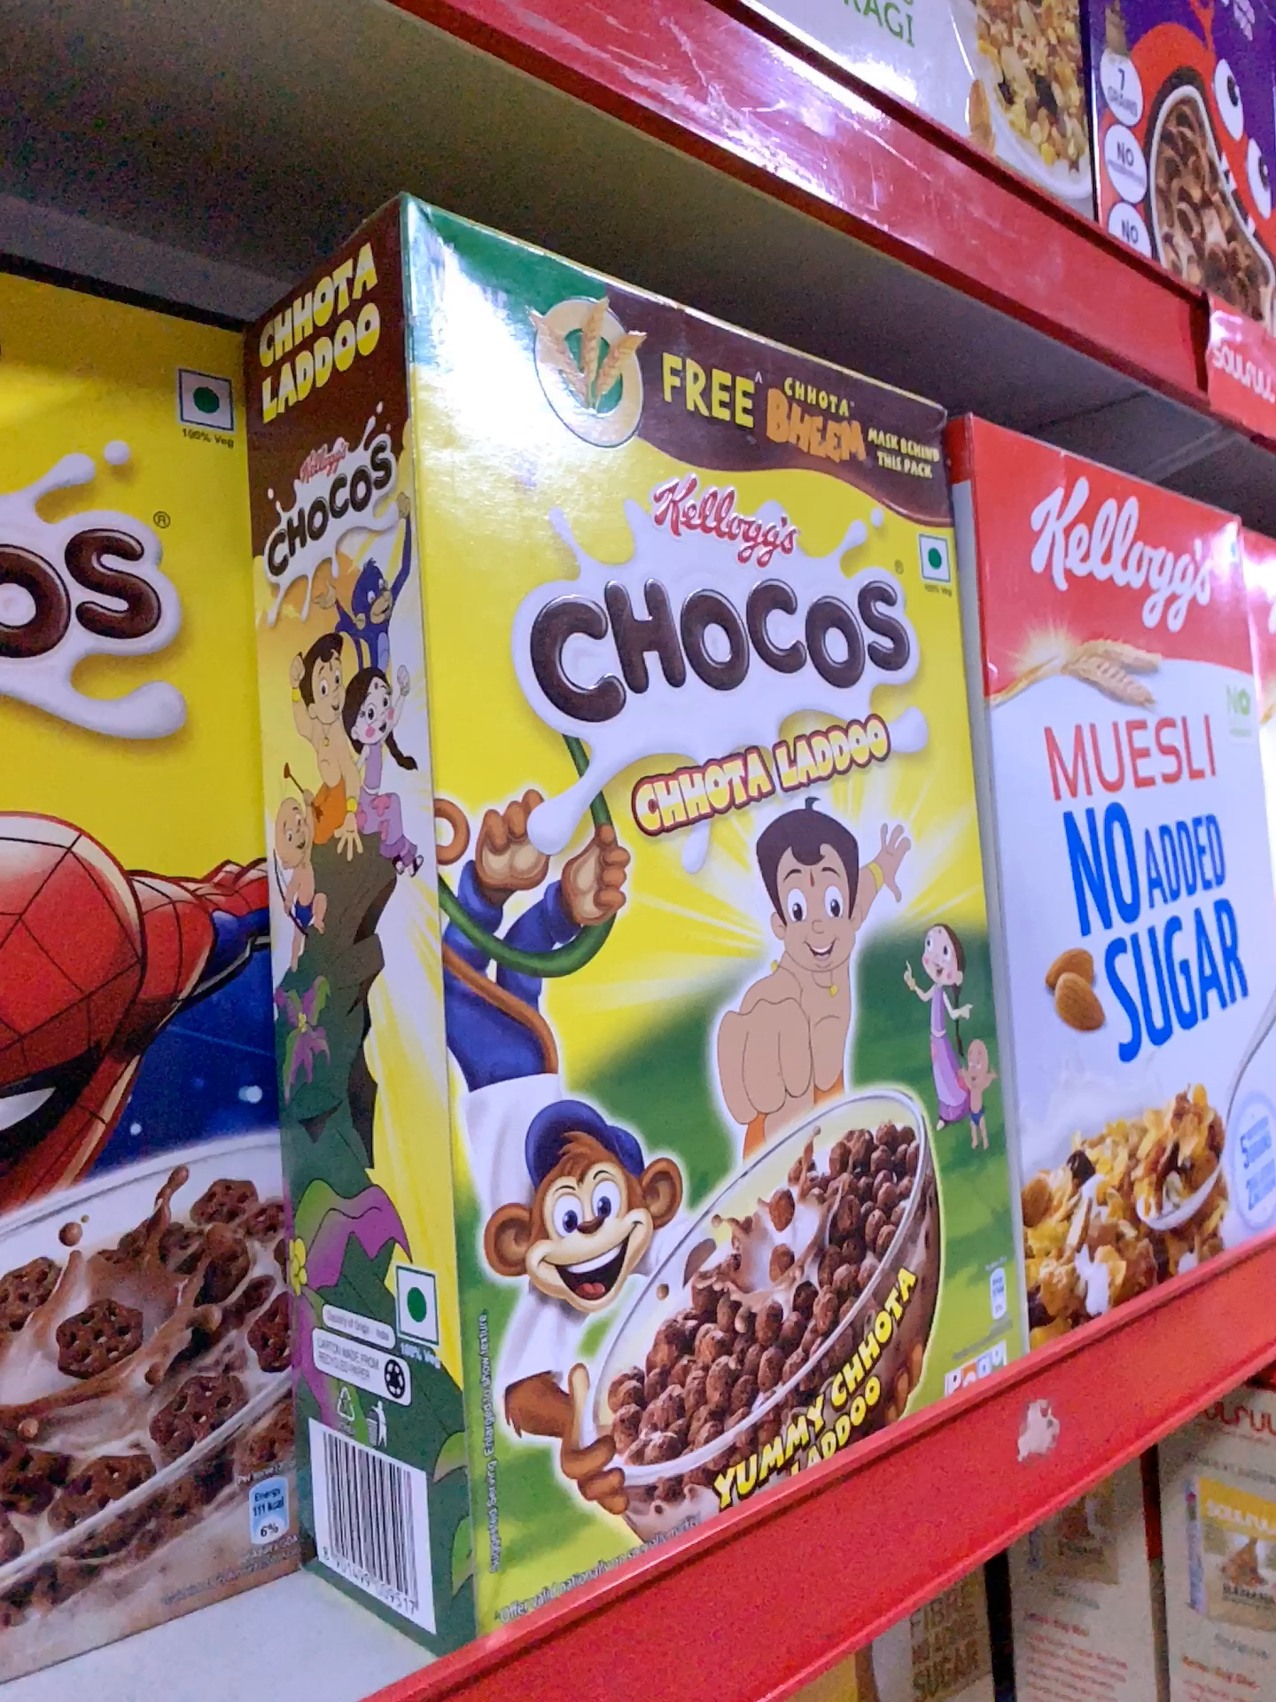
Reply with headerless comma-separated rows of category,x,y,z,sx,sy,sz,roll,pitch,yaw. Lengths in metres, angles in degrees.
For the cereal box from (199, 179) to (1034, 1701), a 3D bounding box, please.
cereal box,0.004,0.013,0.313,0.180,0.260,0.070,0,-5,-44
